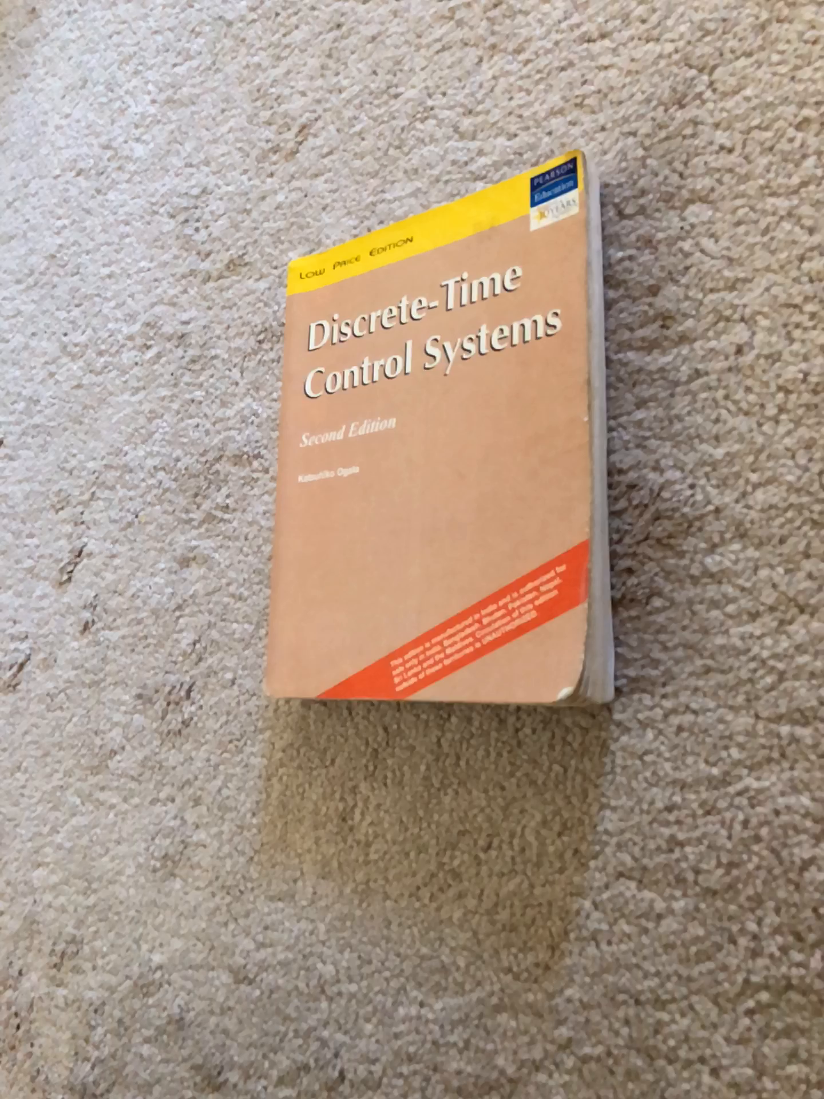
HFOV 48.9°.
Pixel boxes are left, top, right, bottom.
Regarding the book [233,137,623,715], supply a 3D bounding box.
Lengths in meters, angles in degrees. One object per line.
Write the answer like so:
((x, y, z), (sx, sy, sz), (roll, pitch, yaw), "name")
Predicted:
((0.001, -0.045, 0.425), (0.187, 0.035, 0.238), (-7, 76, 35), "book")
